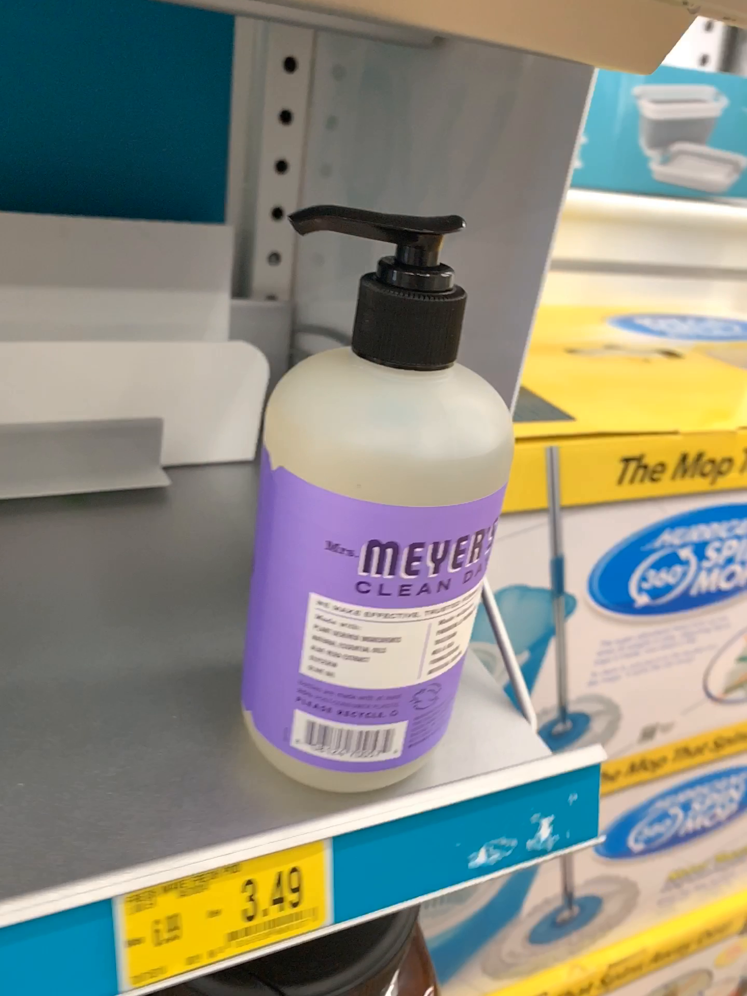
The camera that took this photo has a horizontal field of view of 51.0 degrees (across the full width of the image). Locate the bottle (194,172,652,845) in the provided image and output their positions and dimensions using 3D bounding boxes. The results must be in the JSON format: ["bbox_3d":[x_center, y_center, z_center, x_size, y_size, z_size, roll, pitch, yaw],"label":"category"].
[{"bbox_3d":[0.002,0.001,0.221,0.080,0.159,0.070,-9,32,-31],"label":"bottle"}]
